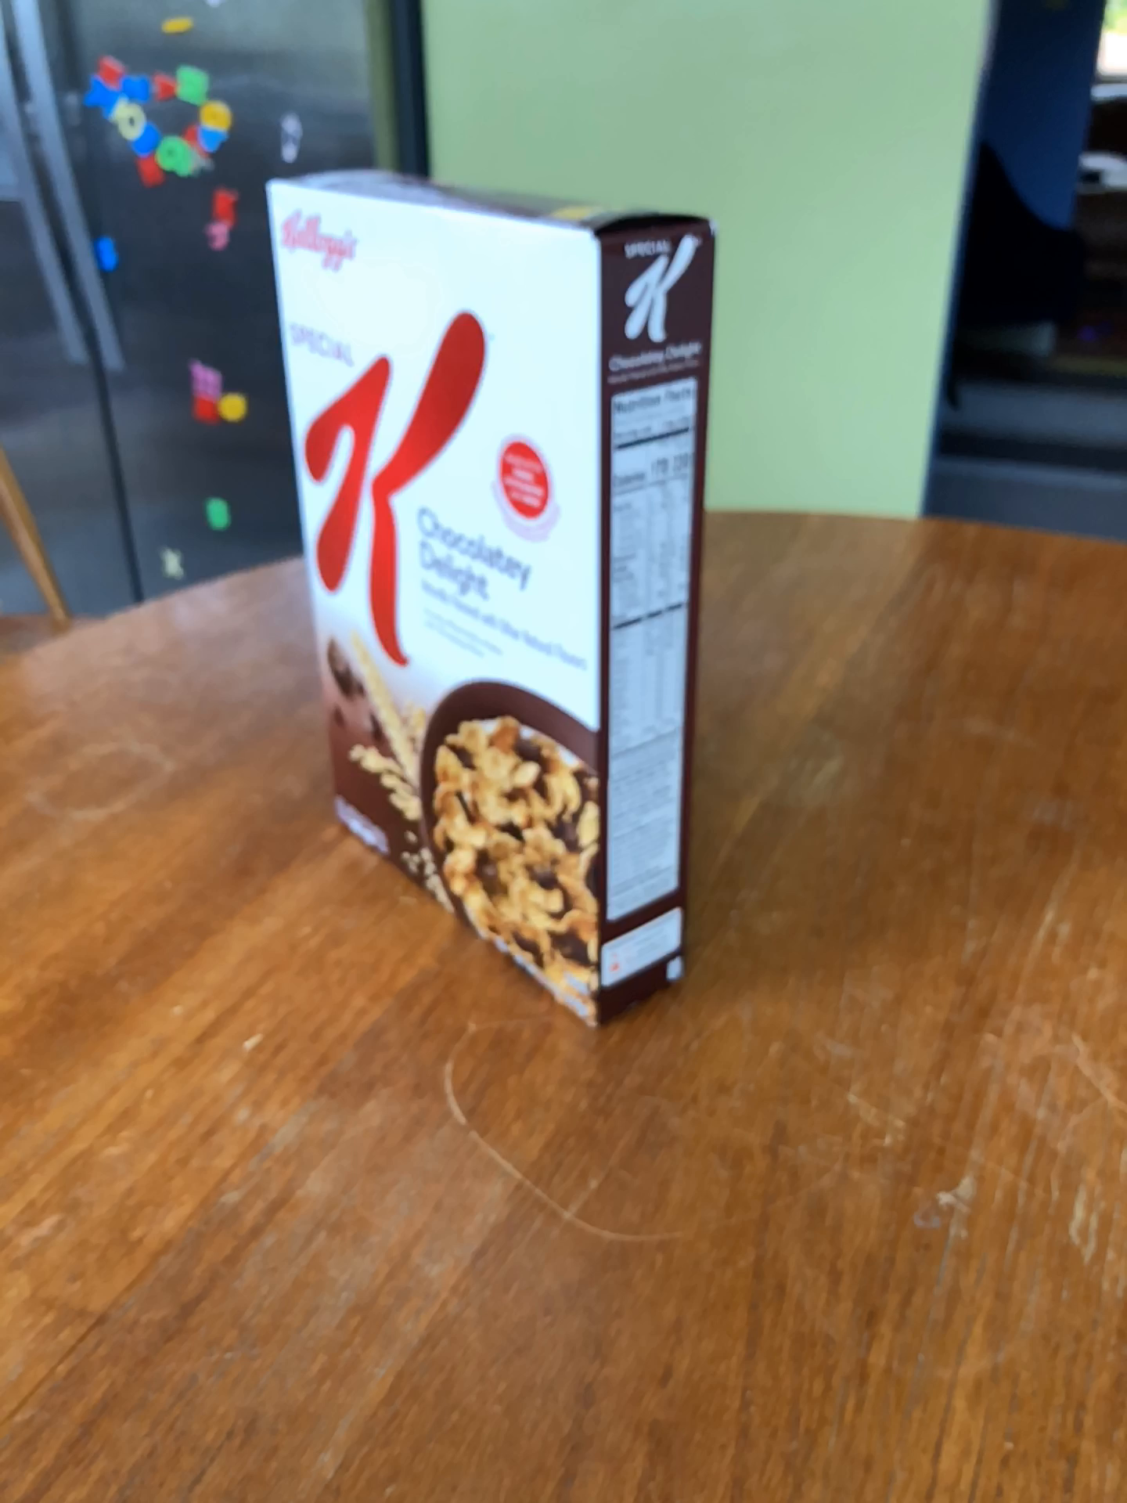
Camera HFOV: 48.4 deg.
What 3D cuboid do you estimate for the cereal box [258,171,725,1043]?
[{"bbox_3d":[-0.033,-0.061,0.491,0.050,0.288,0.201,-21,35,-32],"label":"cereal box"}]
